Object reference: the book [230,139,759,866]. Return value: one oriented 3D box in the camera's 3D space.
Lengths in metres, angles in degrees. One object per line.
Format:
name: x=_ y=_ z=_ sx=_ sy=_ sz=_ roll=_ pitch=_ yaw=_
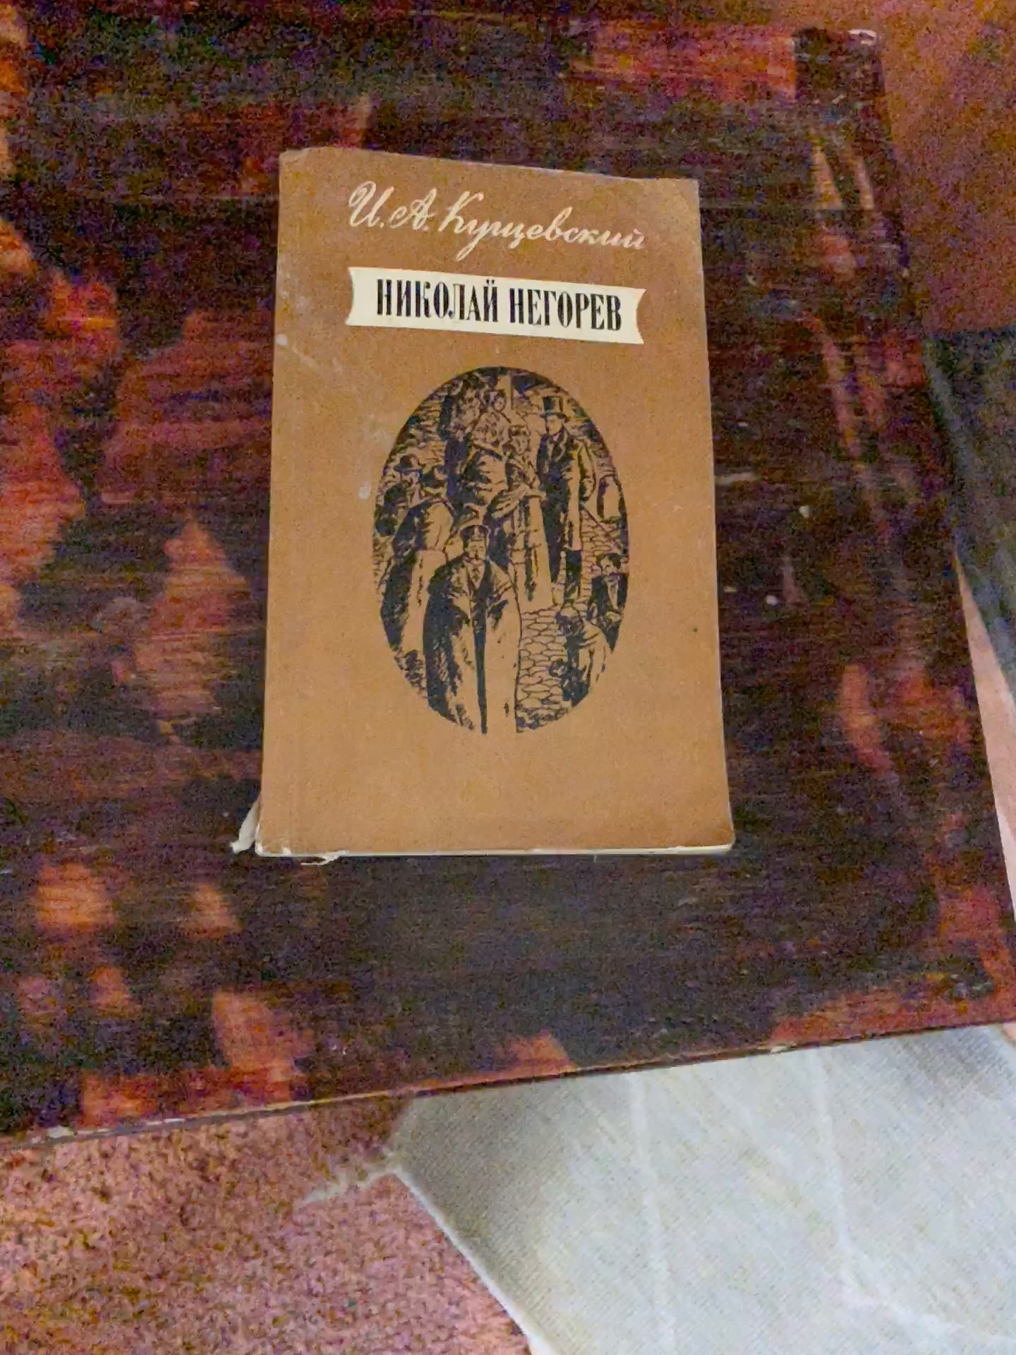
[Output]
book: x=-0.004 y=-0.047 z=0.283 sx=0.130 sy=0.024 sz=0.190 roll=0 pitch=81 yaw=-7
